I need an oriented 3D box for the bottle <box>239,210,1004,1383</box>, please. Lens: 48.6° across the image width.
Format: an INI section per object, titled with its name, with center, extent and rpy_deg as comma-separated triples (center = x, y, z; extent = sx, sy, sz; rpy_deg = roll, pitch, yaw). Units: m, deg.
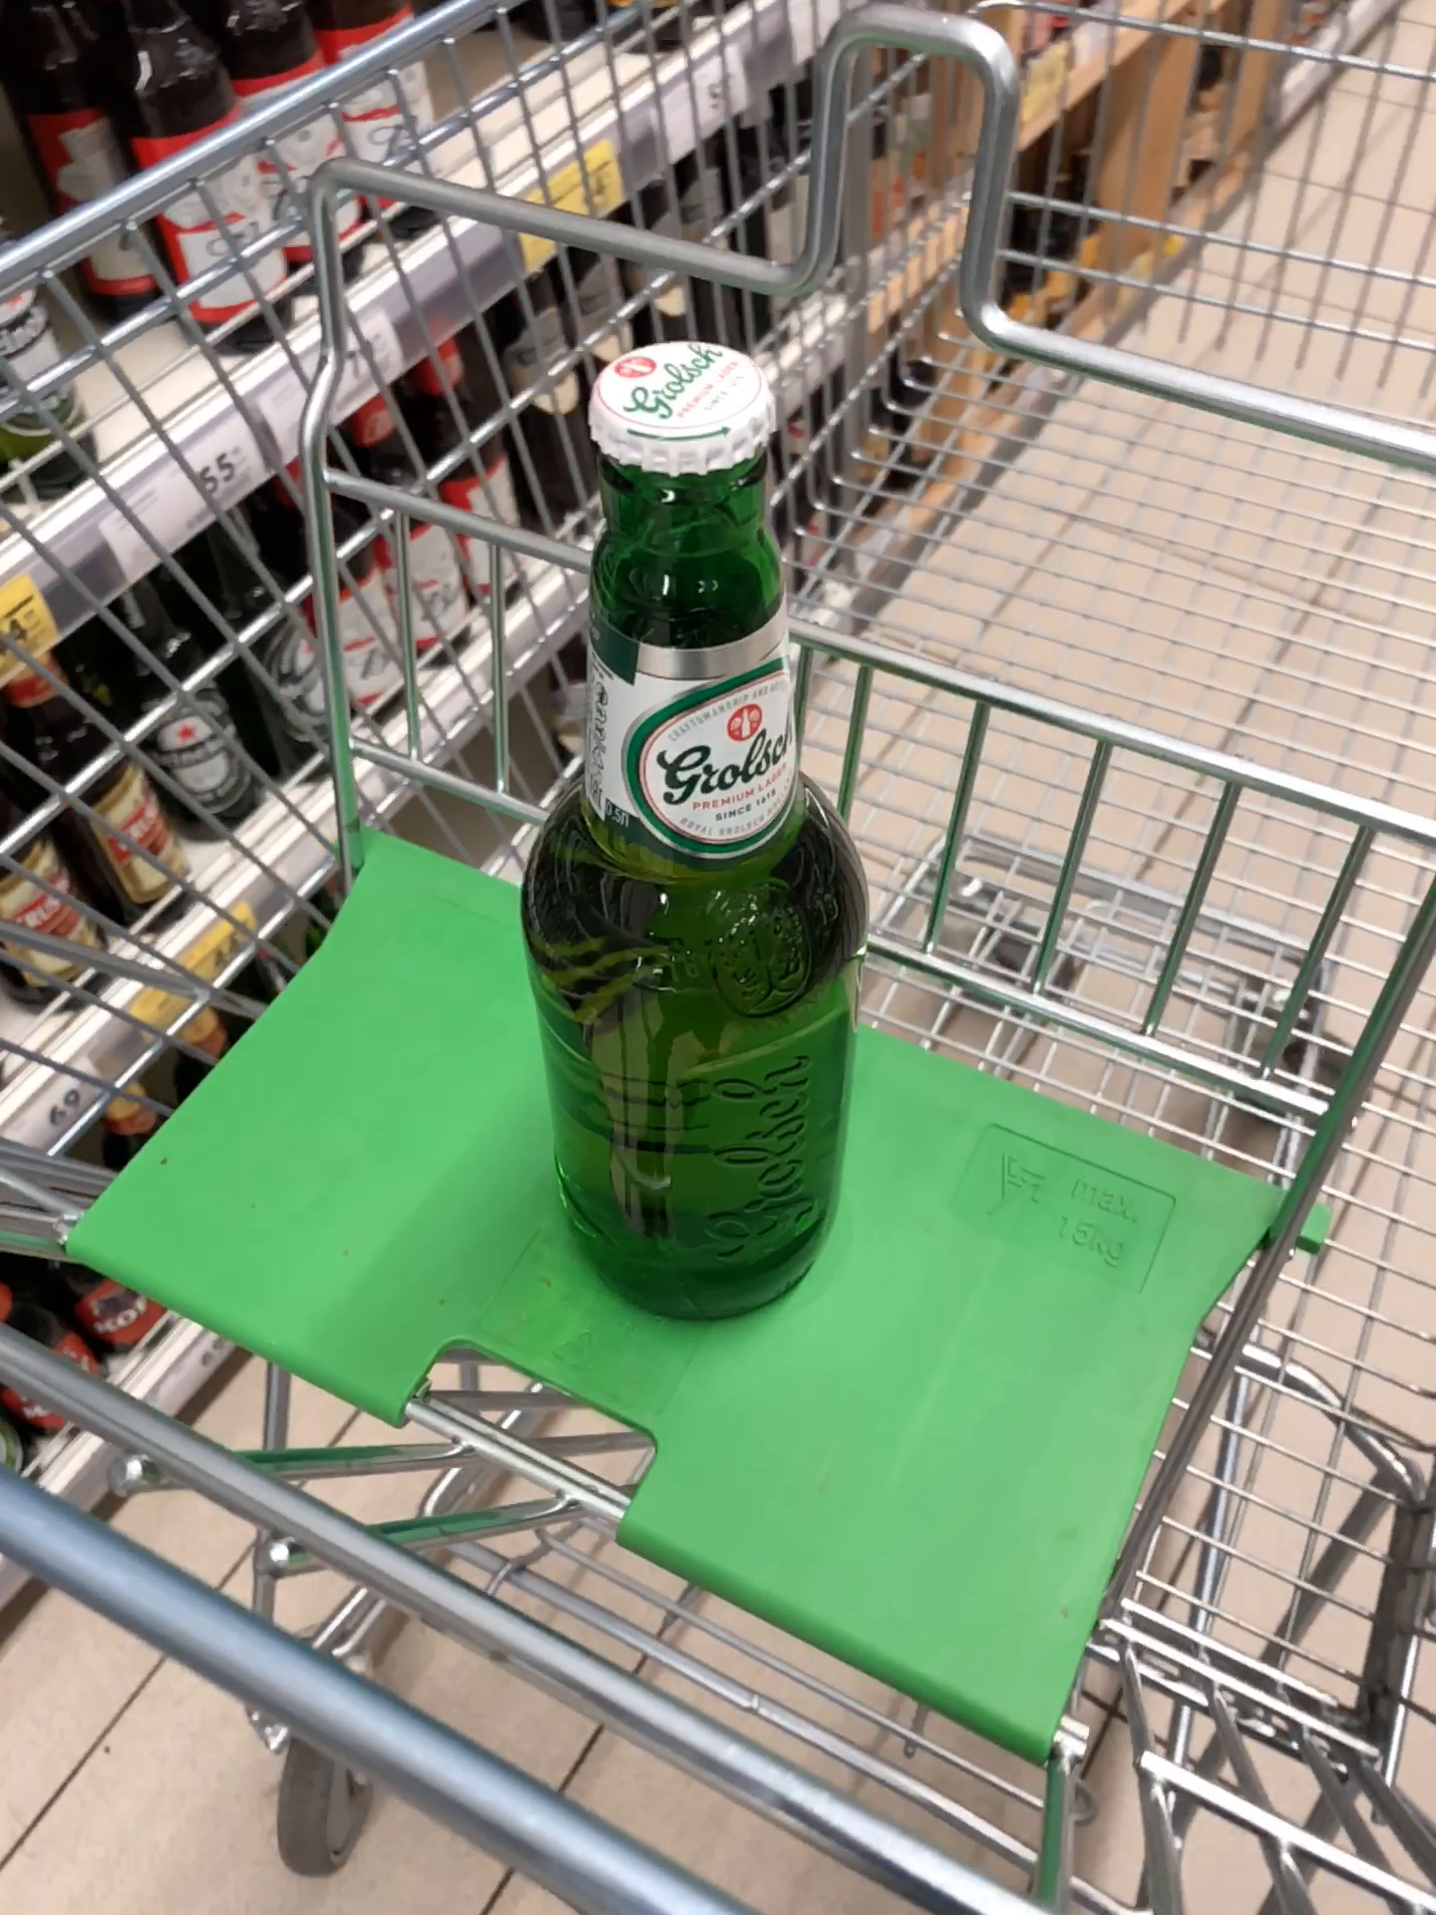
[bottle]
center = -0.012, -0.012, 0.314
extent = 0.080, 0.219, 0.080
rpy_deg = -1, 53, 2
